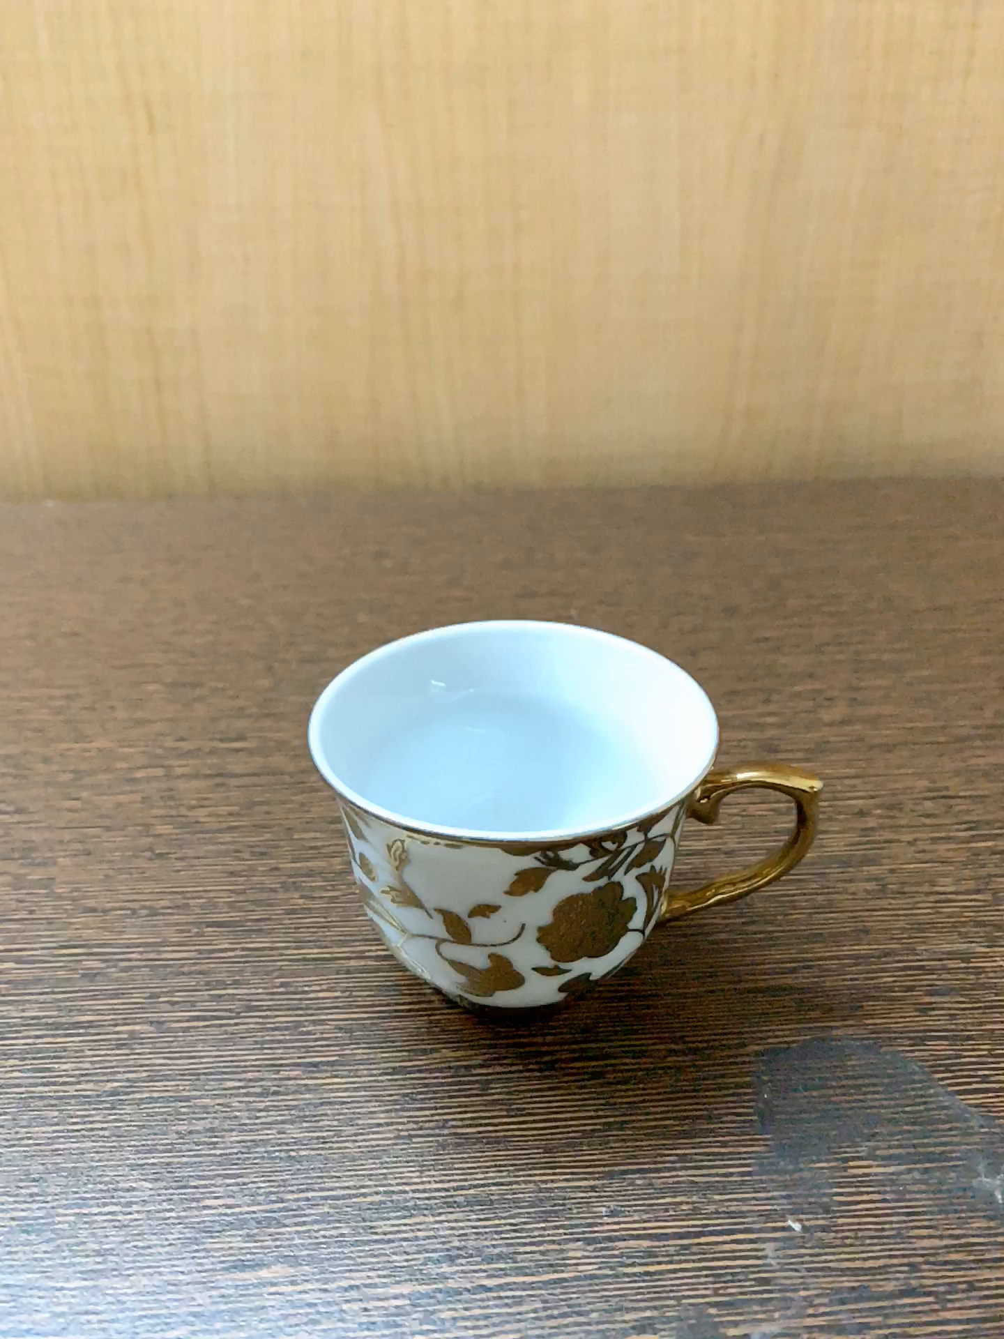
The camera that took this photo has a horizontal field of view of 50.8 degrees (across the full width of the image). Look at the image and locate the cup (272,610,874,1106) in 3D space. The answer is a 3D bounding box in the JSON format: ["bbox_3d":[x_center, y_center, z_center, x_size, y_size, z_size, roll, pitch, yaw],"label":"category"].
[{"bbox_3d":[0.010,0.028,0.183,0.080,0.050,0.071,1,29,2],"label":"cup"}]

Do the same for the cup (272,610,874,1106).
[{"bbox_3d":[0.010,0.028,0.183,0.080,0.050,0.071,1,29,2],"label":"cup"}]
